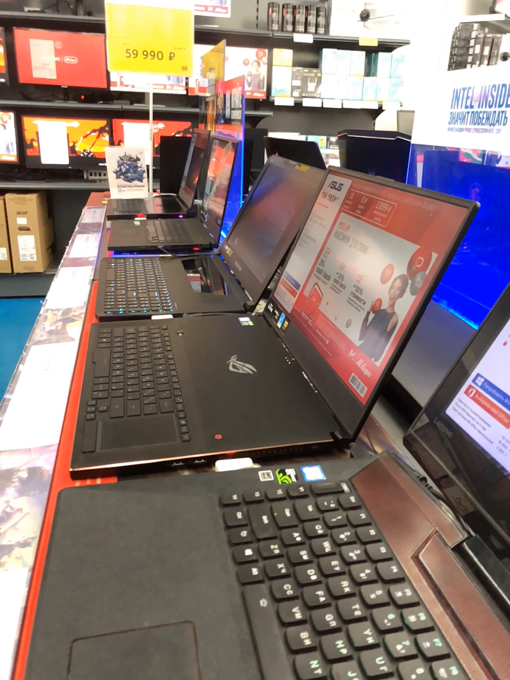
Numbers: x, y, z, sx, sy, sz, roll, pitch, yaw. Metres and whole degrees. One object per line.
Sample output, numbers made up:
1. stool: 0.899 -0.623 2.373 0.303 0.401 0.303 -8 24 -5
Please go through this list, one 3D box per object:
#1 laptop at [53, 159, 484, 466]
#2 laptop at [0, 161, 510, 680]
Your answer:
1. laptop: -0.022 -0.082 0.692 0.377 0.240 0.392 -4 22 -13
2. laptop: 0.090 0.050 0.268 0.411 0.248 0.376 -4 20 -10
